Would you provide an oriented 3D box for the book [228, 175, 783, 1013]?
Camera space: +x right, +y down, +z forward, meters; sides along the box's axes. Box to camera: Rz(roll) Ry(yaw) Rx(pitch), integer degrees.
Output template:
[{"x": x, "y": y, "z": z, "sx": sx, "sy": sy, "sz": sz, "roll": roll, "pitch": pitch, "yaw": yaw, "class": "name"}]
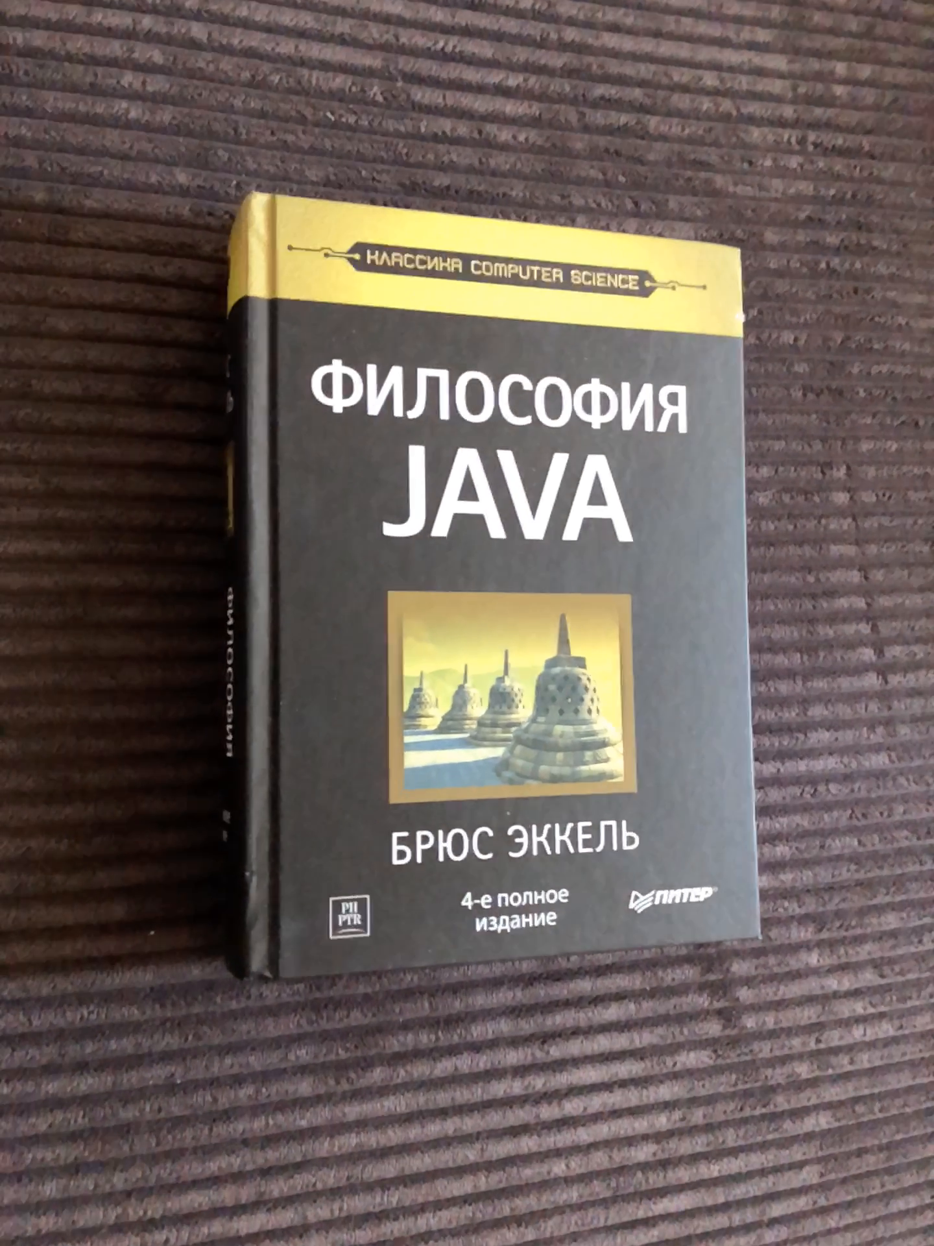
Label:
[{"x": 0.010, "y": -0.010, "z": 0.346, "sx": 0.171, "sy": 0.060, "sz": 0.239, "roll": 0, "pitch": 86, "yaw": -16, "class": "book"}]
